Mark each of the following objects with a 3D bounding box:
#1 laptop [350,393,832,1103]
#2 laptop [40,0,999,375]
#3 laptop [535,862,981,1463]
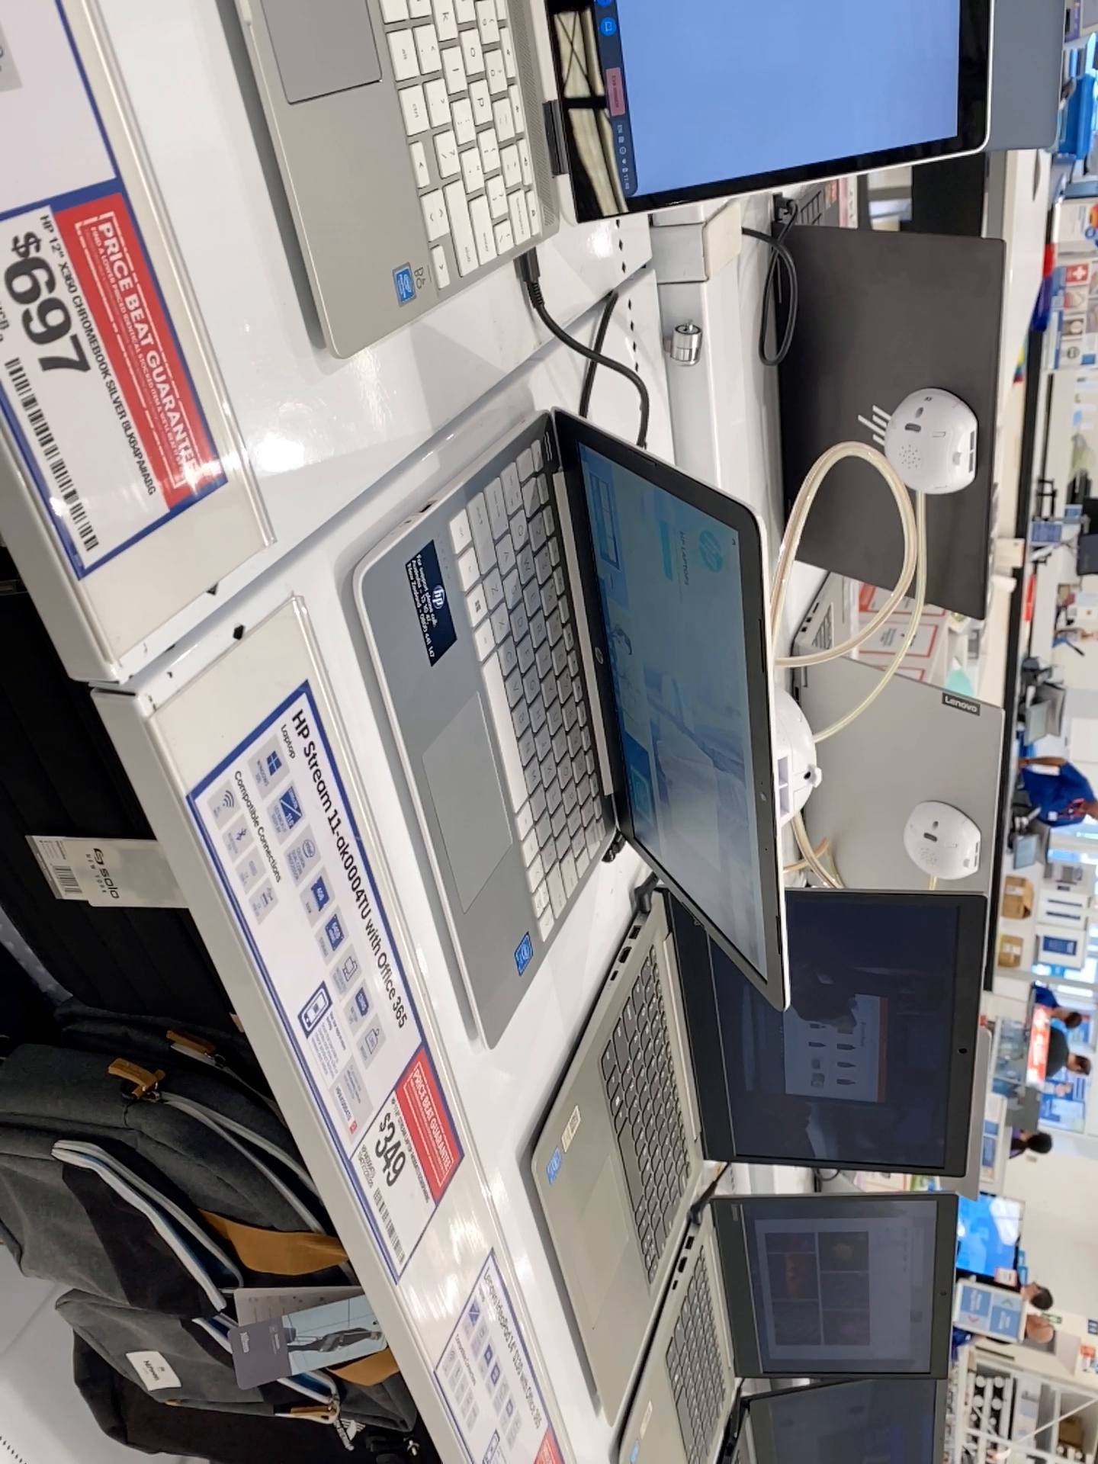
[{"bbox_3d":[0.044,0.004,0.556,0.181,0.139,0.277,-54,141,-47],"label":"laptop"},{"bbox_3d":[0.042,-0.311,0.407,0.298,0.189,0.258,-56,144,-47],"label":"laptop"},{"bbox_3d":[0.173,0.316,0.803,0.276,0.212,0.327,-56,143,-45],"label":"laptop"}]
